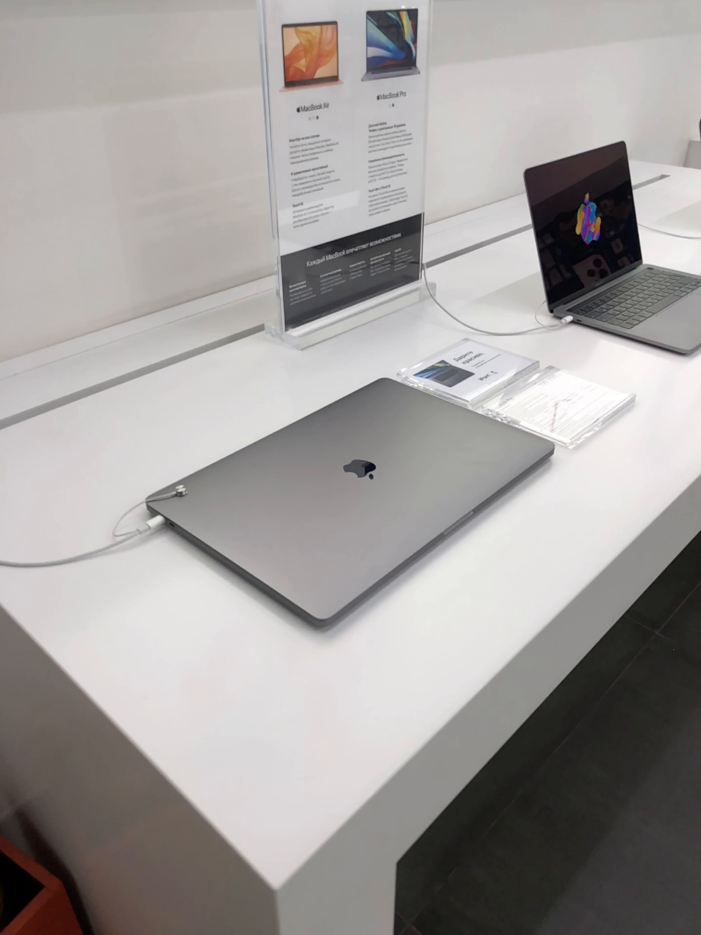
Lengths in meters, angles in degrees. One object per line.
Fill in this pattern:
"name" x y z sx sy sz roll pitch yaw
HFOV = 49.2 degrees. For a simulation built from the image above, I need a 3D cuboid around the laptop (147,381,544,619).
"laptop" 0.006 0.006 0.777 0.231 0.003 0.345 27 41 34
